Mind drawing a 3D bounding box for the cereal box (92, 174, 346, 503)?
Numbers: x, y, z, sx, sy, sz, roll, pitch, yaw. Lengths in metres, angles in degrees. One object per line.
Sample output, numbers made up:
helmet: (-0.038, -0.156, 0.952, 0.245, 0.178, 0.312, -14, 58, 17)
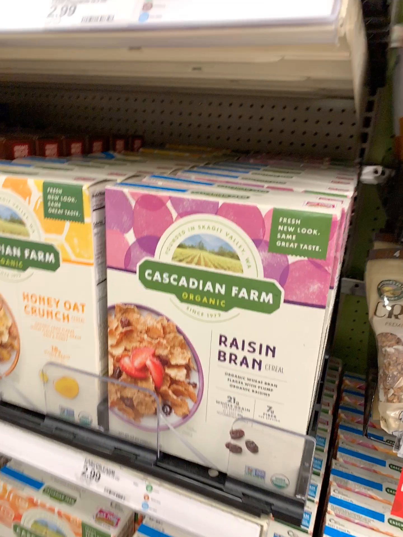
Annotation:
cereal box: (0.004, 0.062, 0.383, 0.200, 0.269, 0.050, 10, 22, 18)
